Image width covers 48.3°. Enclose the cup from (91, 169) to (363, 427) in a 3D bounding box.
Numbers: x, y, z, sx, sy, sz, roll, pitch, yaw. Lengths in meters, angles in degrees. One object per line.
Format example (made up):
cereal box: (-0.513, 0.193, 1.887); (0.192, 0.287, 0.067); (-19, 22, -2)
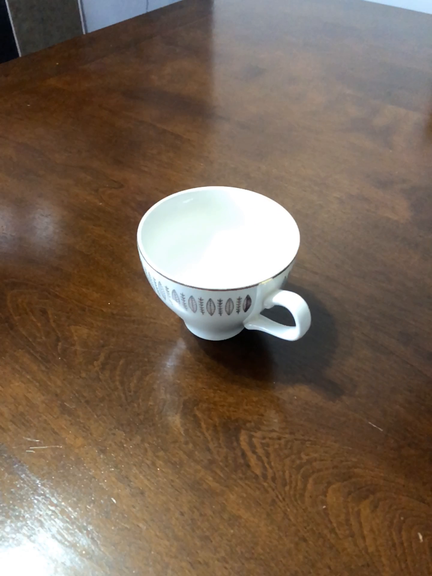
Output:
cup: (0.005, -0.002, 0.258); (0.100, 0.060, 0.090); (32, 52, 26)
